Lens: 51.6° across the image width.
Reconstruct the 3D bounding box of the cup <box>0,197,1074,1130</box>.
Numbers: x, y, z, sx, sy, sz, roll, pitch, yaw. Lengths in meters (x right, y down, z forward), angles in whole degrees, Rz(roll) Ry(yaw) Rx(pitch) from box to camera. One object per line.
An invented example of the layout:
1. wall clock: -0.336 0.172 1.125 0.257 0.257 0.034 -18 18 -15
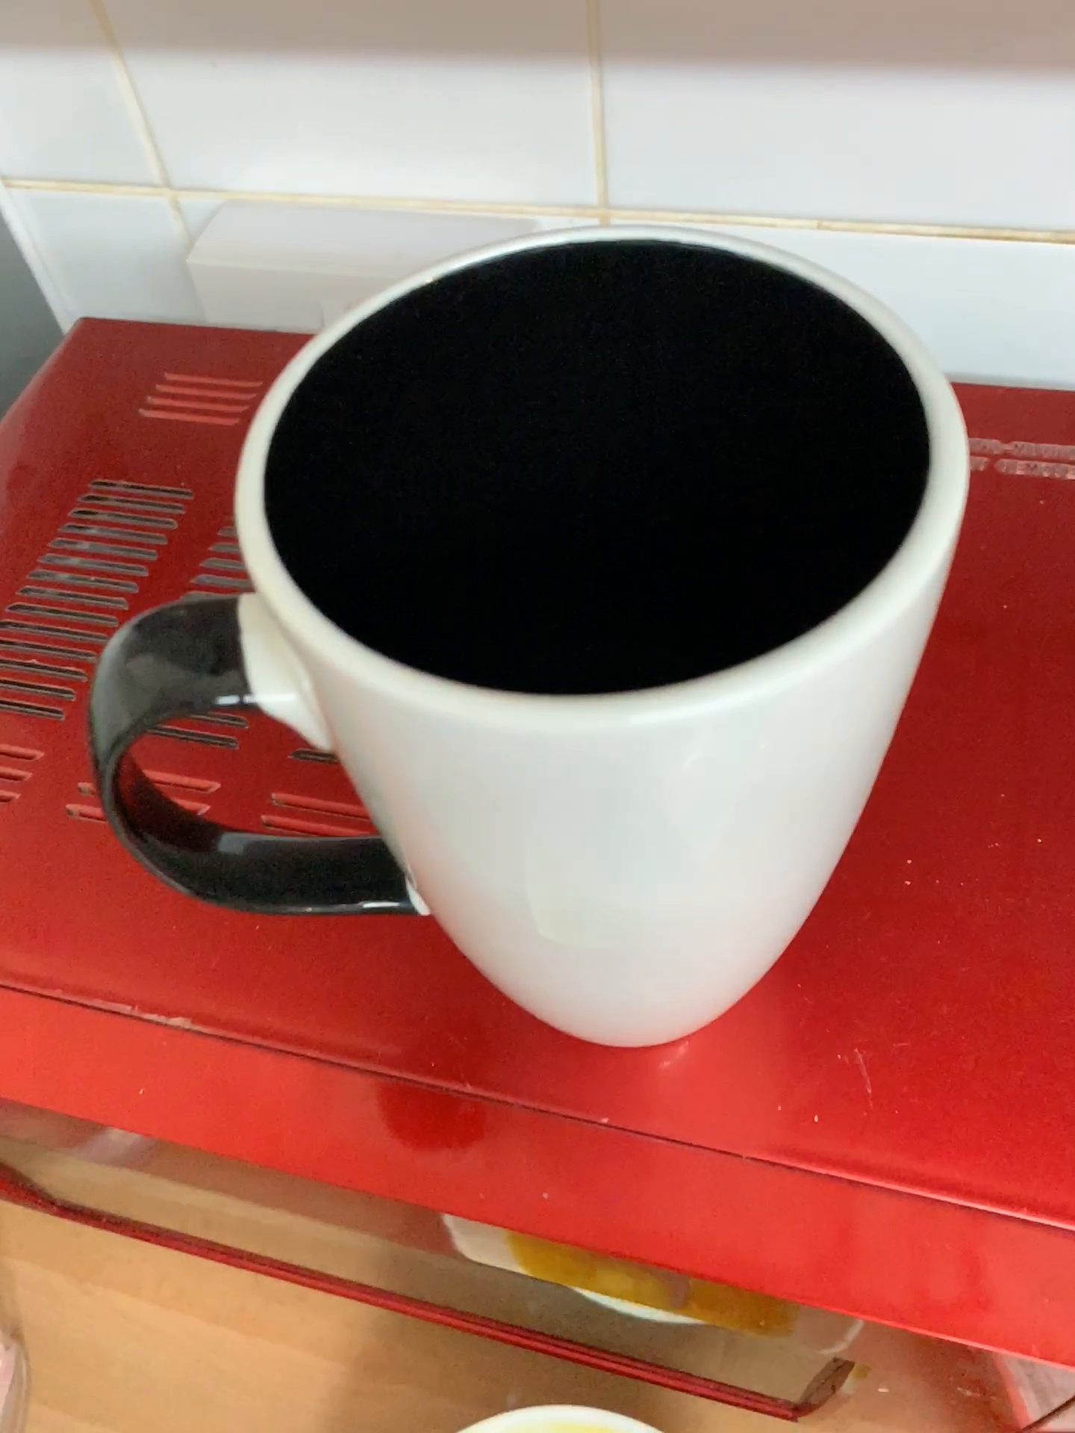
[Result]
1. cup: -0.003 0.002 0.196 0.130 0.129 0.091 -6 54 3
